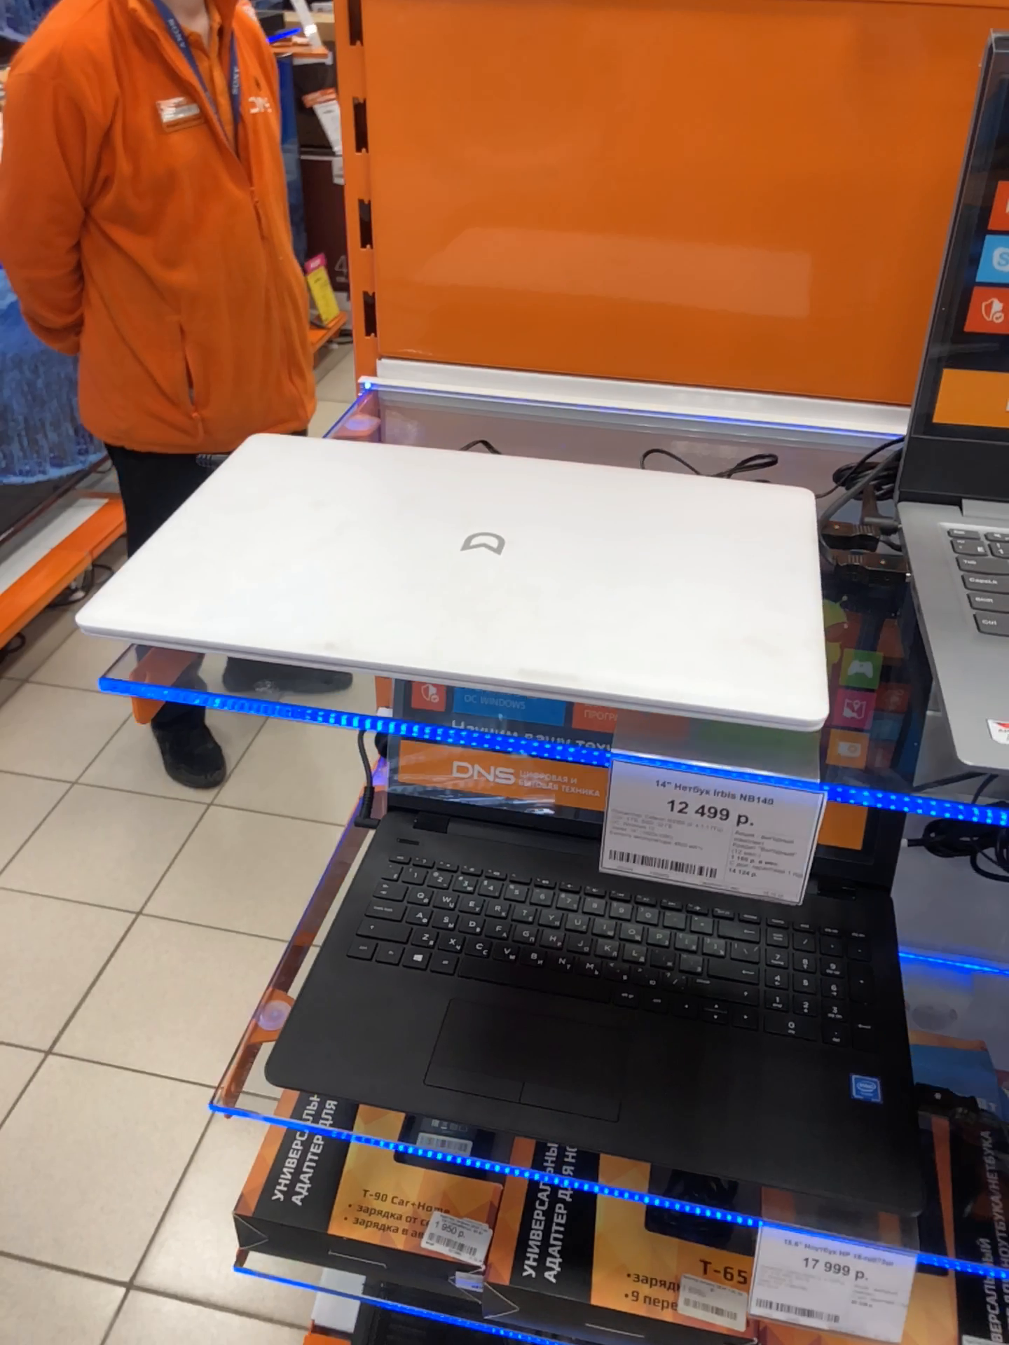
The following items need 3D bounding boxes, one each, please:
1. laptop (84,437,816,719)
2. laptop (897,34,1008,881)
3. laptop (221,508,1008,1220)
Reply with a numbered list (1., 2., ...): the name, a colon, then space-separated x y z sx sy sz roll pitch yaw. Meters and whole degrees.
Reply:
1. laptop: -0.010 -0.061 0.546 0.312 0.002 0.213 7 35 9
2. laptop: 0.370 -0.113 0.446 0.344 0.224 0.280 6 34 8
3. laptop: 0.072 0.086 0.683 0.364 0.228 0.307 8 34 11
